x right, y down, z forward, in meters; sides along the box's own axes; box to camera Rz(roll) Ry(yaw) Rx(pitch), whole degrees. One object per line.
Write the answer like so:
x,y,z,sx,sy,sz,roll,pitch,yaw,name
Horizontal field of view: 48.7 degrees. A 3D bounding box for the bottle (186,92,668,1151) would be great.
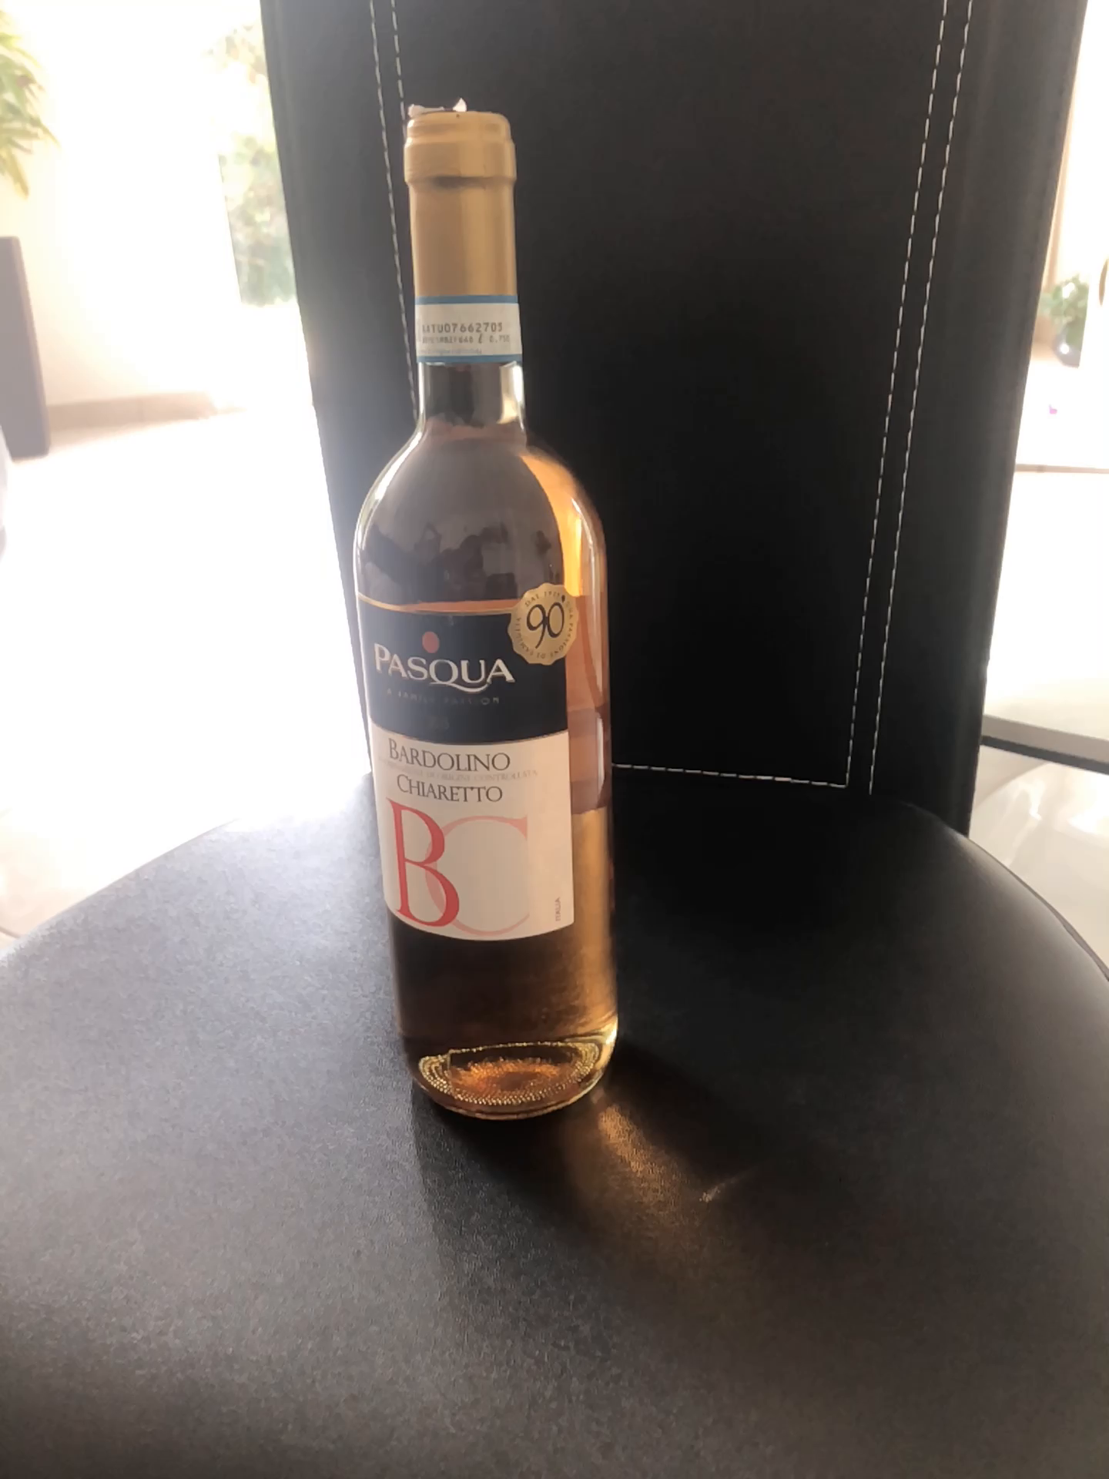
-0.023,-0.027,0.354,0.080,0.279,0.080,-3,25,1,bottle
